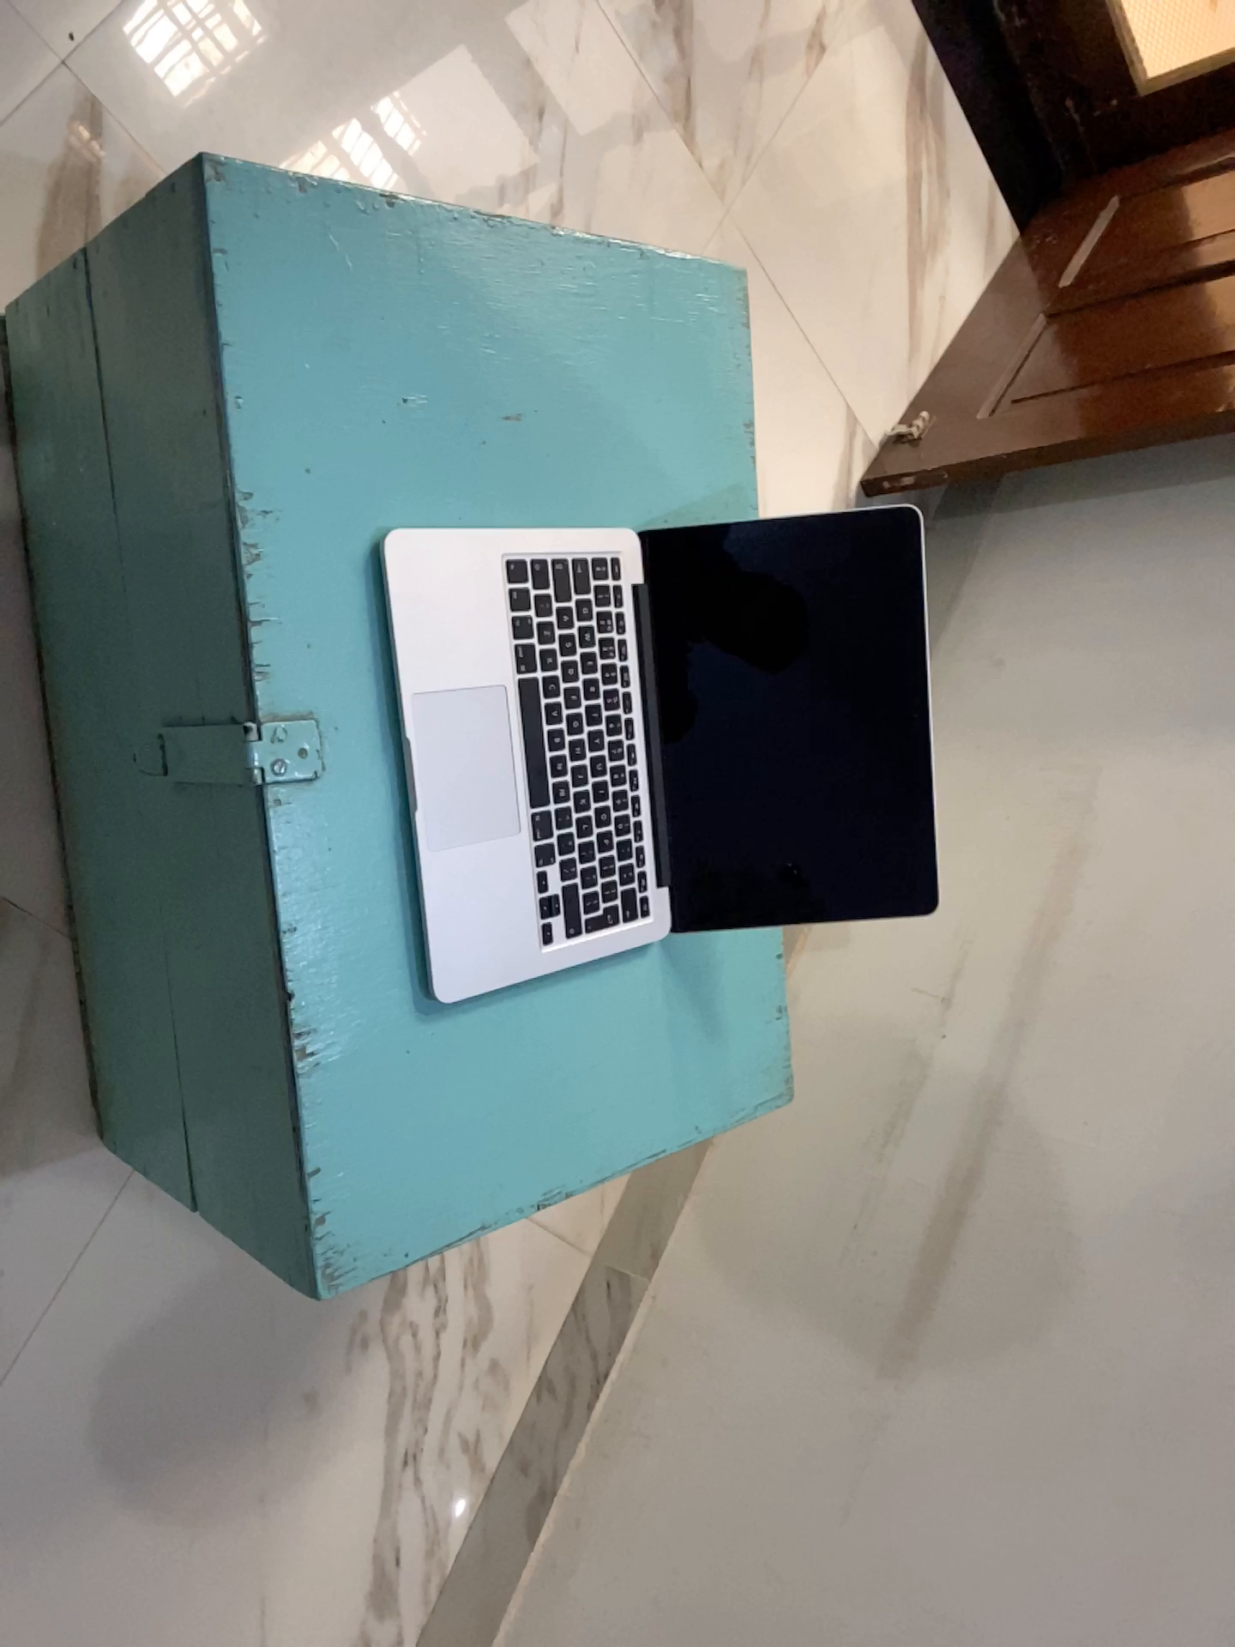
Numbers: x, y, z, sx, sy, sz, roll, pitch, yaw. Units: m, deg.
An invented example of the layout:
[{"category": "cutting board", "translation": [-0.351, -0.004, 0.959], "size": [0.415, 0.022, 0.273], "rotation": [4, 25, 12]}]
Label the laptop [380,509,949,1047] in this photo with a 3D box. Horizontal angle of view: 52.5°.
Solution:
[{"category": "laptop", "translation": [0.054, -0.055, 0.897], "size": [0.379, 0.148, 0.313], "rotation": [-13, 101, -41]}]
